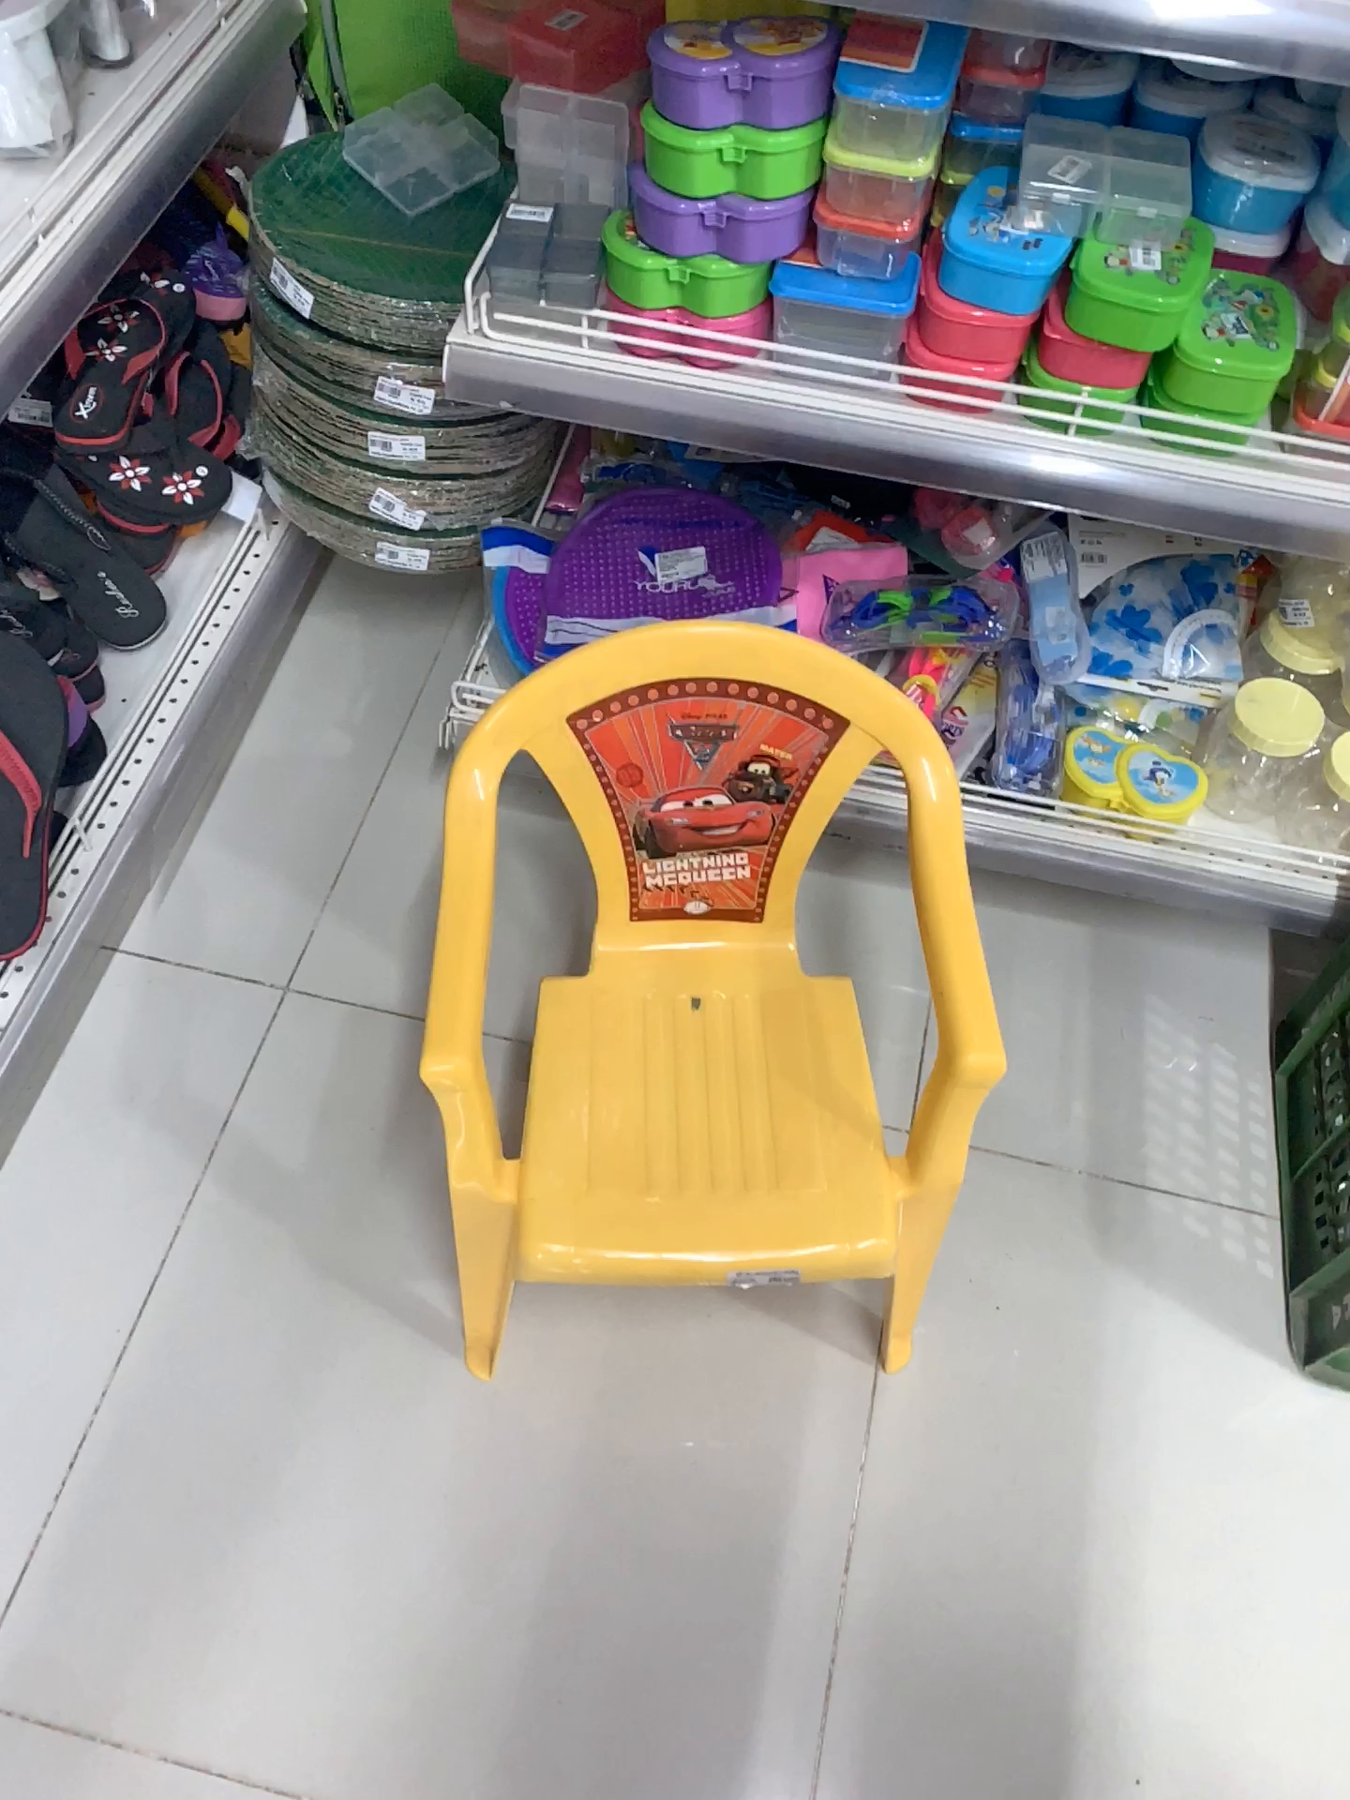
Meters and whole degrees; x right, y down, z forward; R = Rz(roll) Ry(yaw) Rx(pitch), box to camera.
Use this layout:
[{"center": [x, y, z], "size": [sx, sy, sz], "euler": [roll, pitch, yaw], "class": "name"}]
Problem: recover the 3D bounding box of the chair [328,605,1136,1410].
[{"center": [0.018, 0.106, 0.973], "size": [0.390, 0.499, 0.370], "euler": [0, 57, -2], "class": "chair"}]
